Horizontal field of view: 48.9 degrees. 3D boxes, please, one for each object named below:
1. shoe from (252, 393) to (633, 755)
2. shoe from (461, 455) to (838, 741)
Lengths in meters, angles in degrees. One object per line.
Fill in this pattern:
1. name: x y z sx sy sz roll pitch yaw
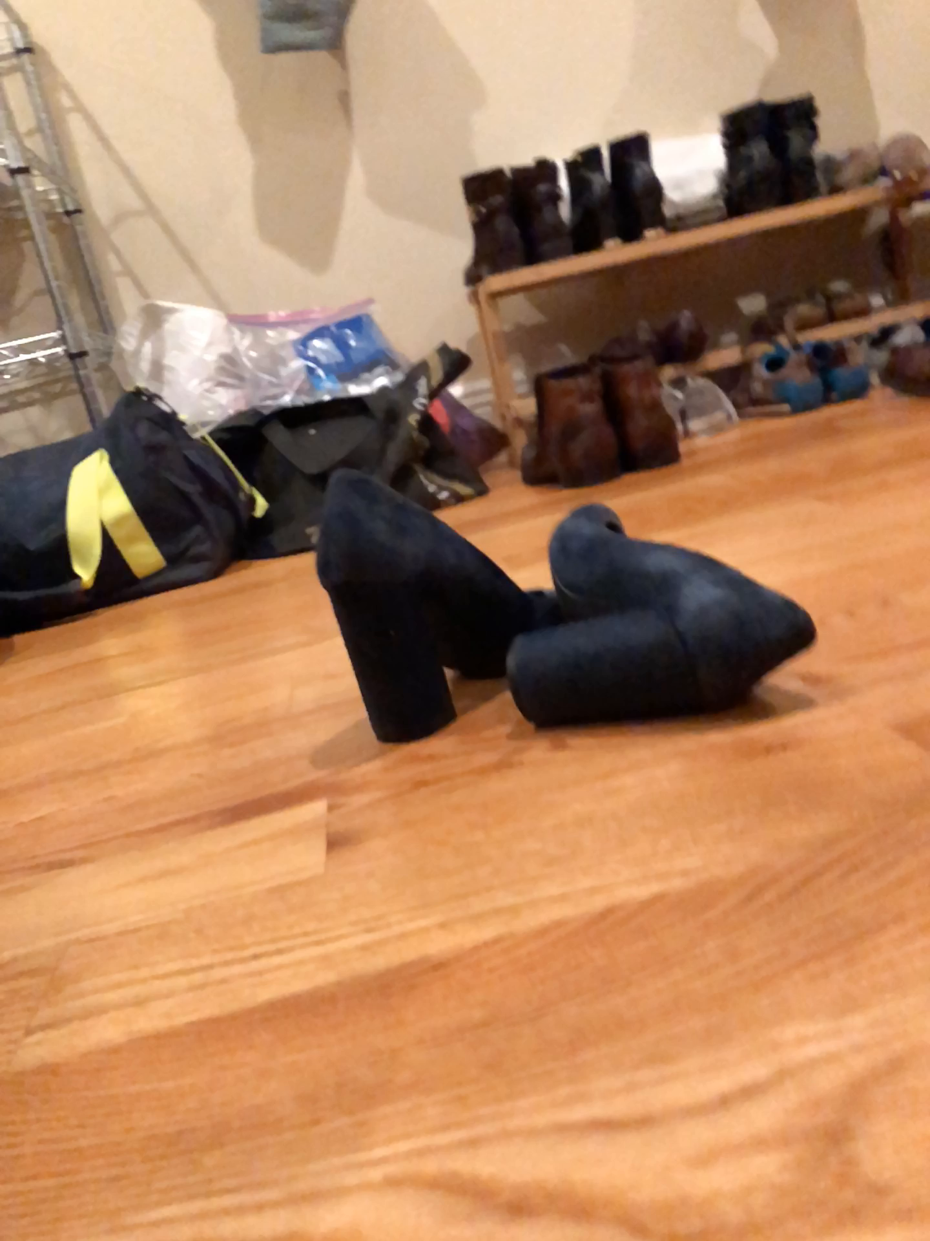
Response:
1. shoe: 0.001 -0.037 0.607 0.080 0.146 0.227 -3 17 37
2. shoe: 0.112 -0.019 0.553 0.152 0.080 0.205 -7 15 24
